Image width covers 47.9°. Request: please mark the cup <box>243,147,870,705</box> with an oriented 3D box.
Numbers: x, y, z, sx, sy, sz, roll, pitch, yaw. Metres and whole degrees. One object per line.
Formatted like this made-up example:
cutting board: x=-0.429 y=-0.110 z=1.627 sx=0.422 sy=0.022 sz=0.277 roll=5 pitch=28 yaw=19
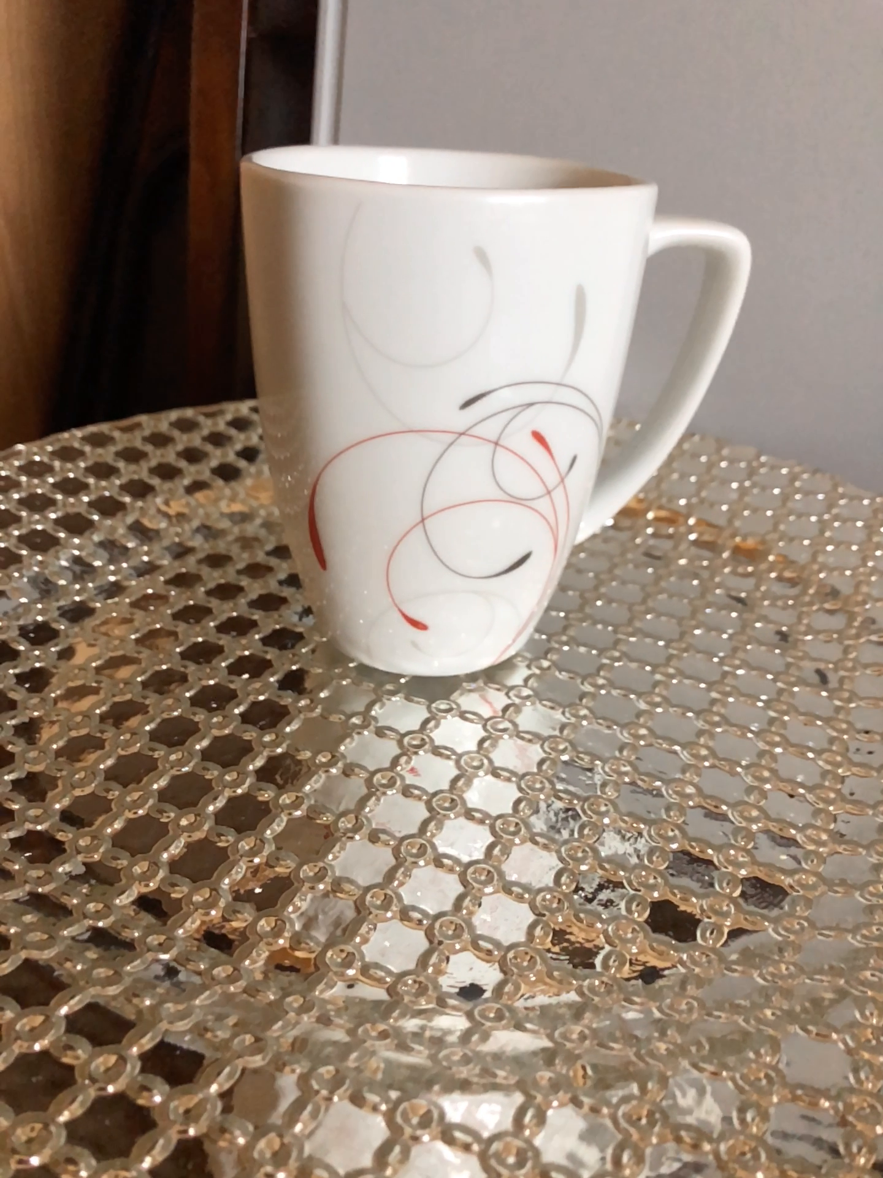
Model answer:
cup: x=0.018 y=-0.045 z=0.236 sx=0.110 sy=0.100 sz=0.080 roll=-8 pitch=29 yaw=-22
